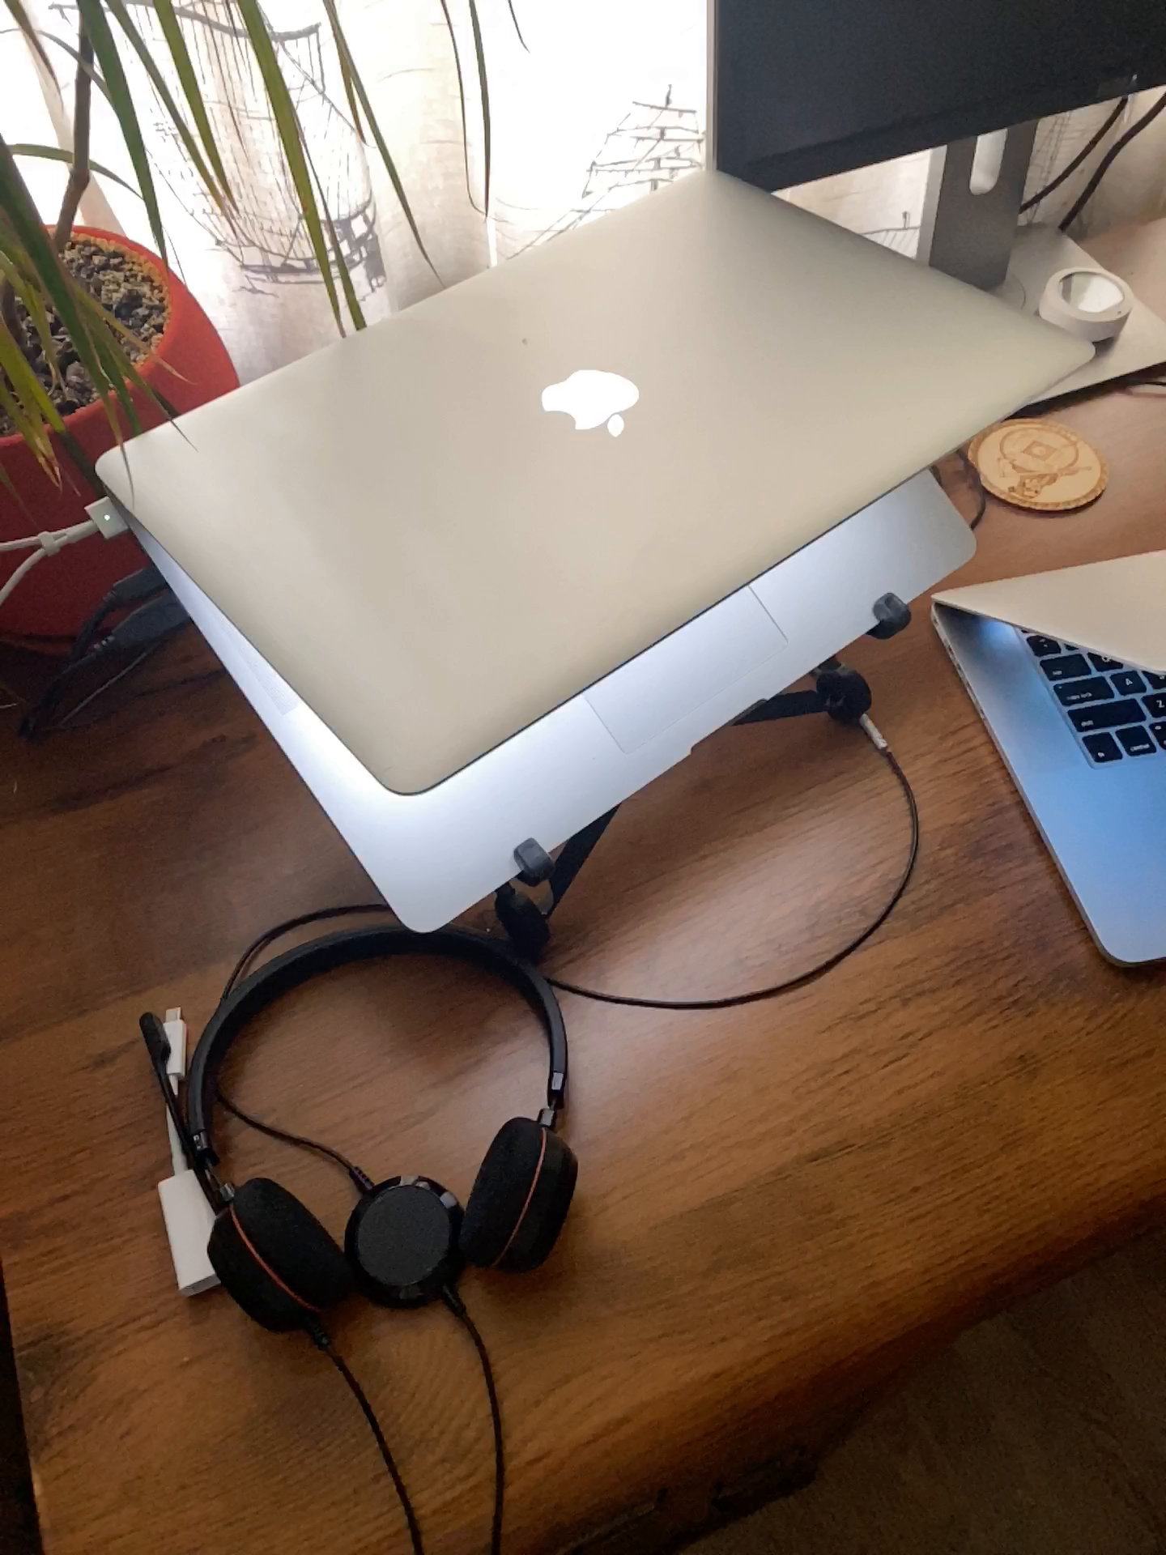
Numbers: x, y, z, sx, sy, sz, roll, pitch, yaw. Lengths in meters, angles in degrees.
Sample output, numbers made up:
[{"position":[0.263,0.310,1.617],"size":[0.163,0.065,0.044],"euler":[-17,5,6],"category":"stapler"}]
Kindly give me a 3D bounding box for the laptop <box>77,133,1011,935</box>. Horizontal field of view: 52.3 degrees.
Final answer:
[{"position":[0.001,-0.133,0.549],"size":[0.355,0.022,0.243],"euler":[-34,84,-19],"category":"laptop"}]

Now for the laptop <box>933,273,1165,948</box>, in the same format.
[{"position":[0.401,-0.088,0.585],"size":[0.355,0.152,0.236],"euler":[-10,55,-4],"category":"laptop"}]
